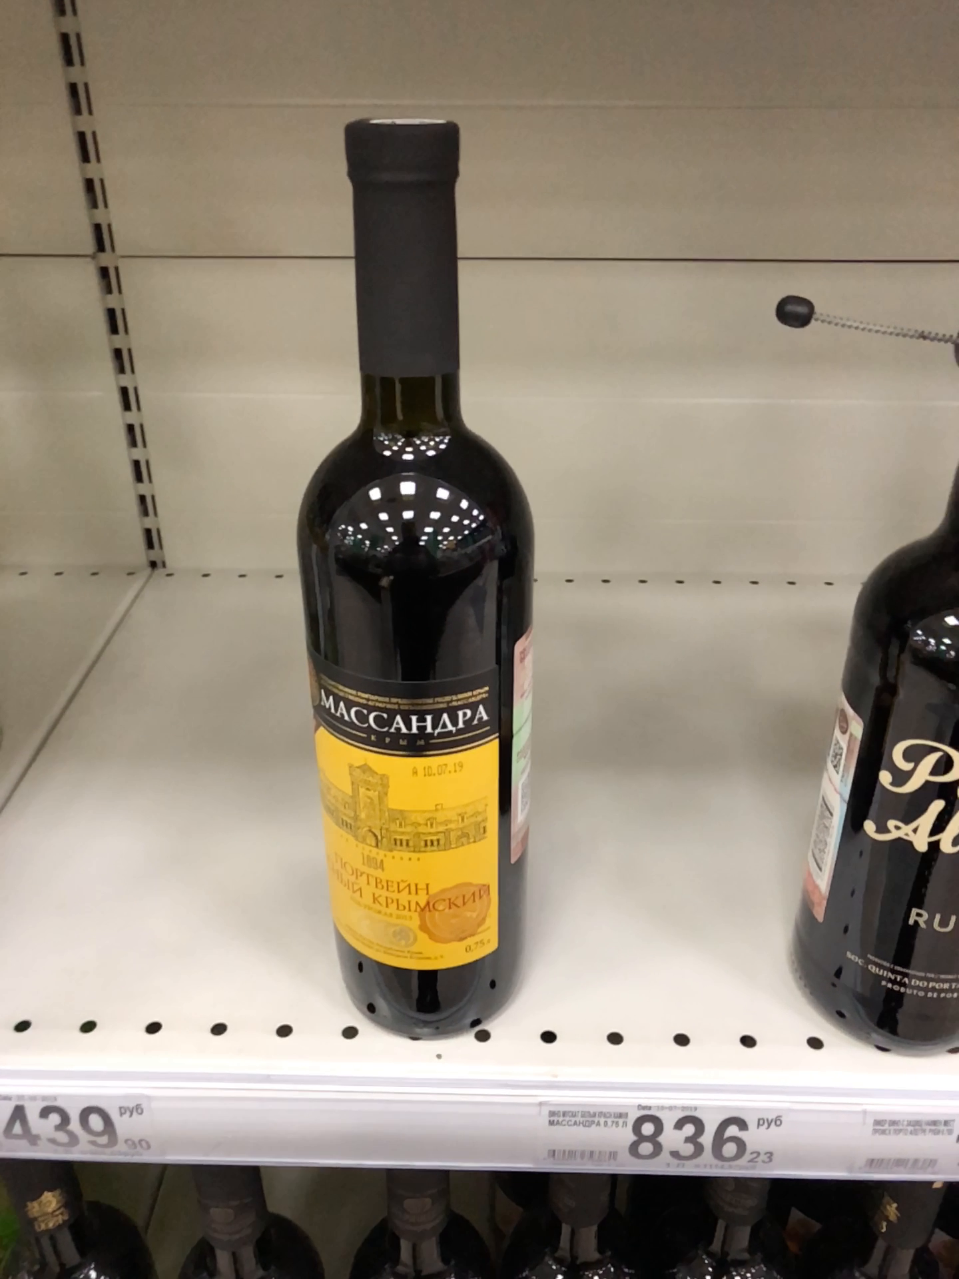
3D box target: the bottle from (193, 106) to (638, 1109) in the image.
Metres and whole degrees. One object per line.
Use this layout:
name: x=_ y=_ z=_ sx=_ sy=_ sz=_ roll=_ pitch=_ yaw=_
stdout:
bottle: x=-0.012 y=0.002 z=0.387 sx=0.100 sy=0.348 sz=0.101 roll=0 pitch=29 yaw=0
